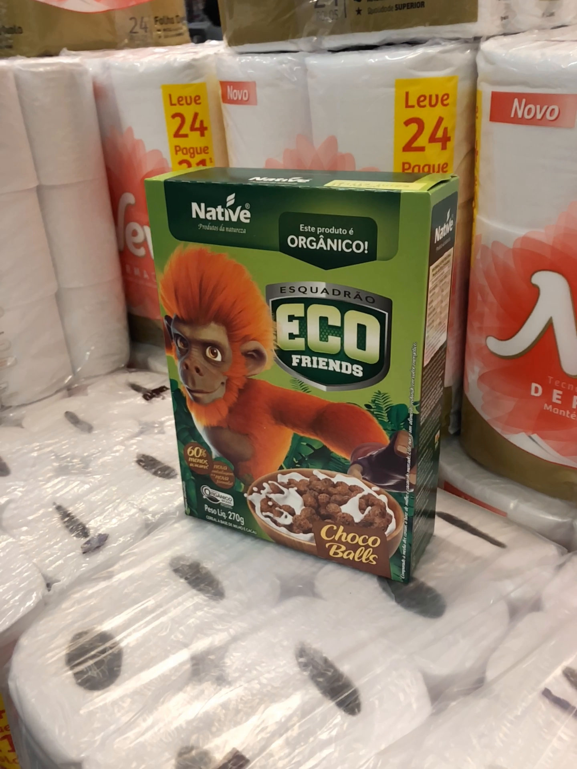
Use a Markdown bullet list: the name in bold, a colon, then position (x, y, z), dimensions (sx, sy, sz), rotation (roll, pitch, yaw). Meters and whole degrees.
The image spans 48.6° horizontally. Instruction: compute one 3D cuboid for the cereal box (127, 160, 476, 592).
- **cereal box**: position (0.006, -0.011, 0.390), dimensions (0.180, 0.228, 0.060), rotation (12, 28, 27)
